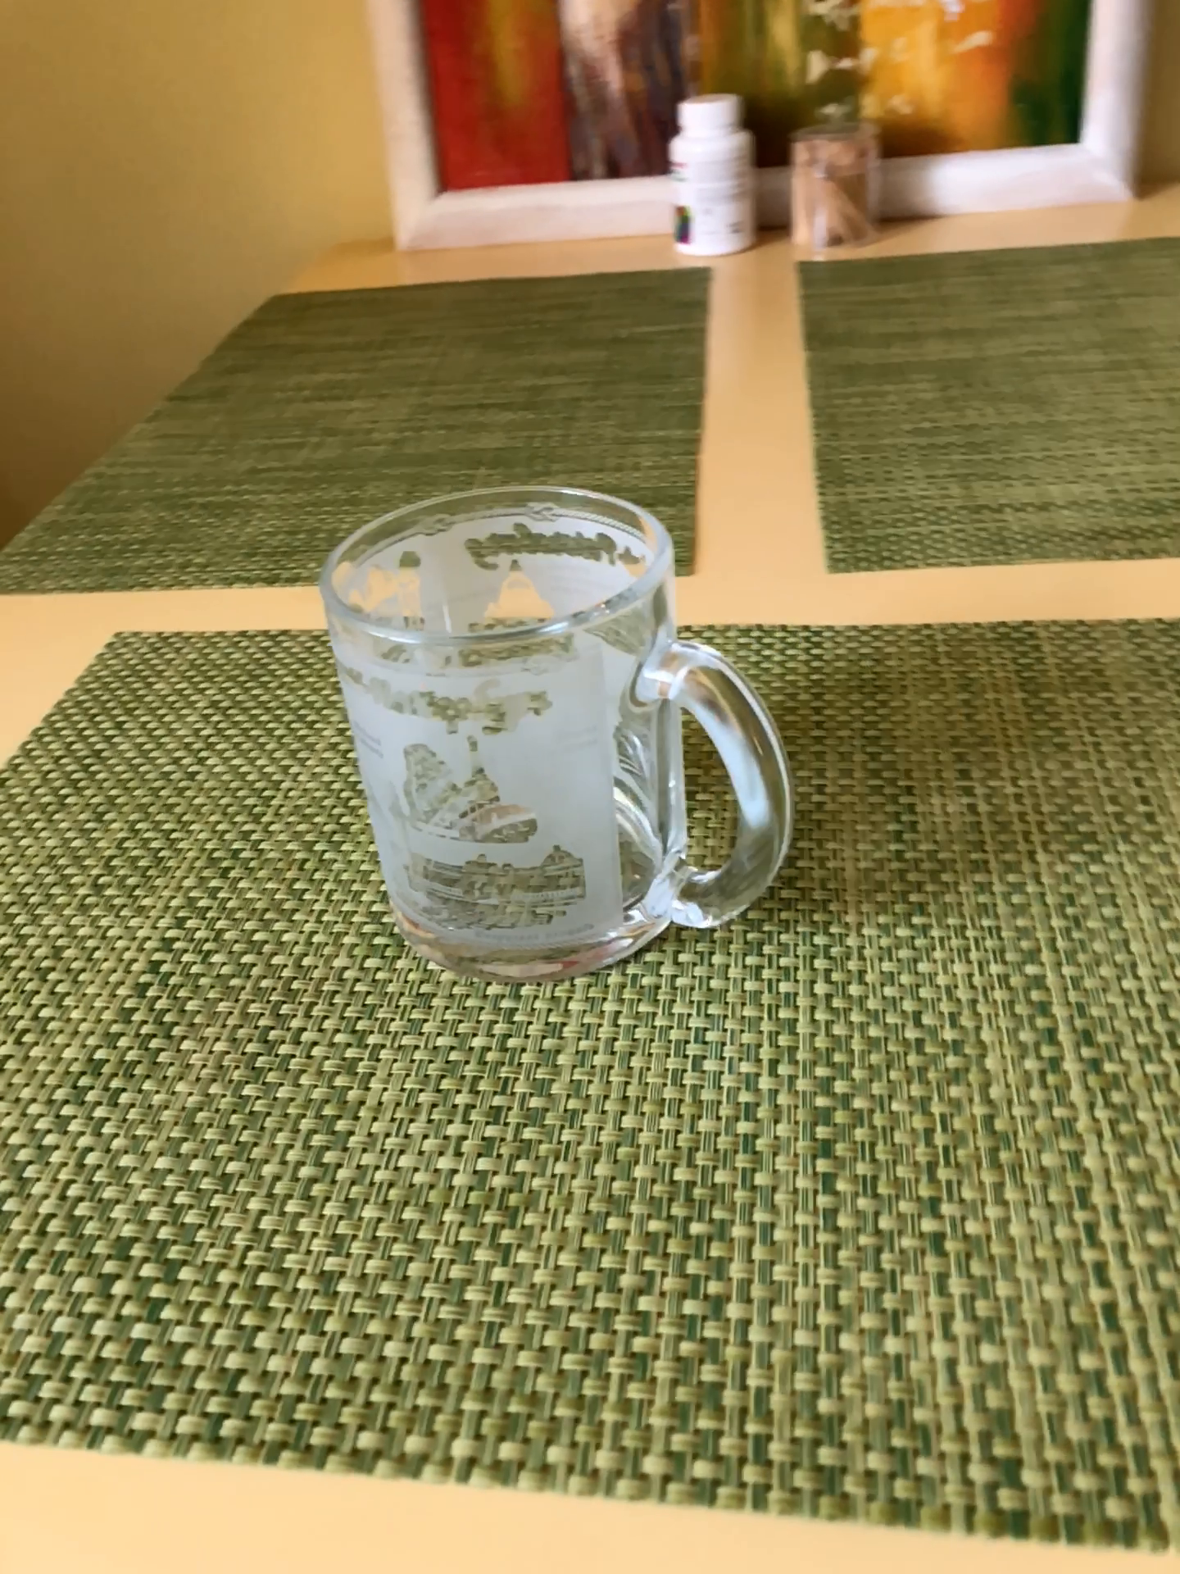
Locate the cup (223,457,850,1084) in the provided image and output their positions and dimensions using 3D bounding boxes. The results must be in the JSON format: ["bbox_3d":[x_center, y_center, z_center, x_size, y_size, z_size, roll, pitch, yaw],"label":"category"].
[{"bbox_3d":[-0.007,-0.011,0.315,0.109,0.096,0.088,17,40,29],"label":"cup"}]
